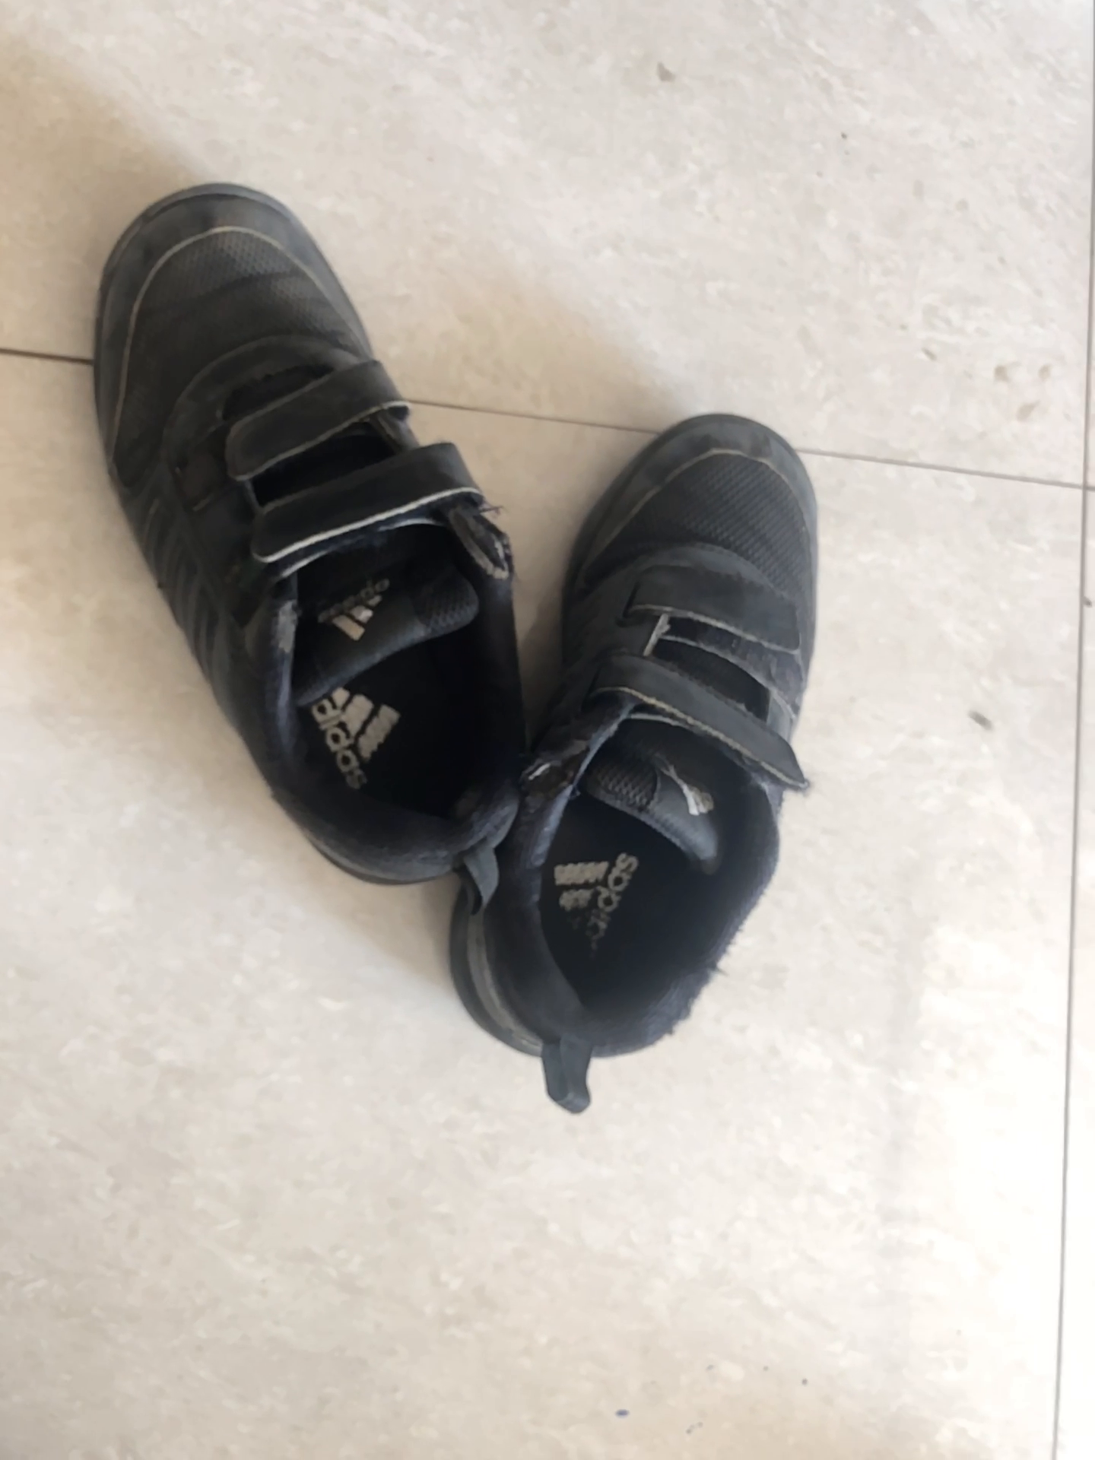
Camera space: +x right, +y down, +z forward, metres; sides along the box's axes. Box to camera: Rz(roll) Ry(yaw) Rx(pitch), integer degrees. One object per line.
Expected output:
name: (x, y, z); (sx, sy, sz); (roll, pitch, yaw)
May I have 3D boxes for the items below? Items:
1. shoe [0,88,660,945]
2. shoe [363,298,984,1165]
shoe: (-0.064, -0.056, 0.355); (0.100, 0.080, 0.200); (-25, 94, -14)
shoe: (0.034, 0.001, 0.389); (0.100, 0.100, 0.220); (22, 82, -13)
